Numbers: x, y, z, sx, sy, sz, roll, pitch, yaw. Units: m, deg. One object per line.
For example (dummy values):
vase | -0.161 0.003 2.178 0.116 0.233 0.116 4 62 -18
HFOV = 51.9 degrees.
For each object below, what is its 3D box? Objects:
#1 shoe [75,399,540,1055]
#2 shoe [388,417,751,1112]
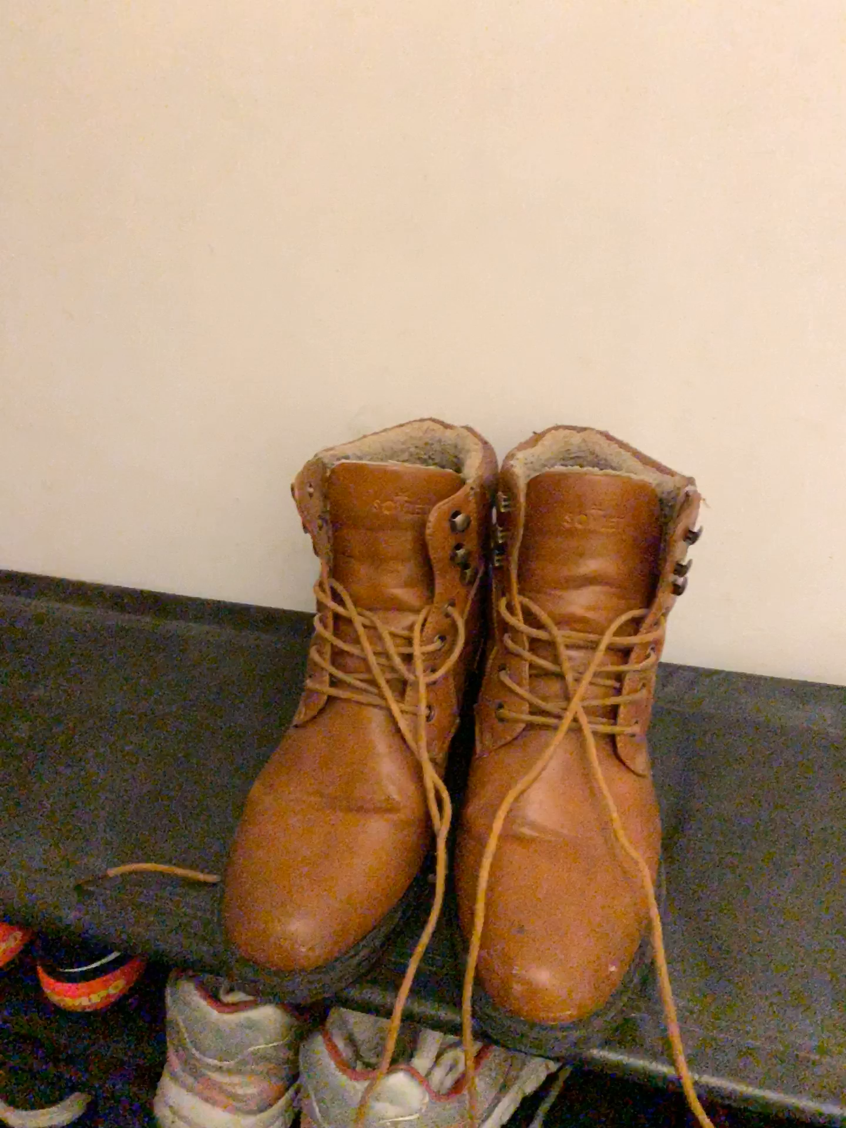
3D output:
shoe | -0.028 0.061 0.468 0.110 0.198 0.272 10 34 18
shoe | 0.073 0.073 0.418 0.110 0.198 0.242 6 33 12
